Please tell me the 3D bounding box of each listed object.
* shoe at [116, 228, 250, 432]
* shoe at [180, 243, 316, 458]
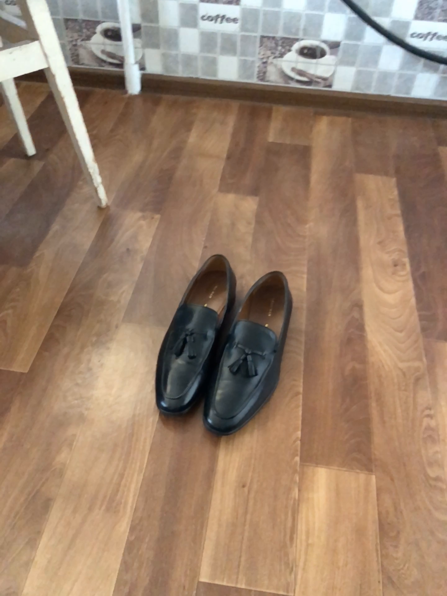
[{"bbox_3d":[-0.049,0.038,0.782,0.110,0.119,0.302,12,49,10],"label":"shoe"},{"bbox_3d":[0.046,0.067,0.758,0.110,0.119,0.302,16,49,13],"label":"shoe"}]
